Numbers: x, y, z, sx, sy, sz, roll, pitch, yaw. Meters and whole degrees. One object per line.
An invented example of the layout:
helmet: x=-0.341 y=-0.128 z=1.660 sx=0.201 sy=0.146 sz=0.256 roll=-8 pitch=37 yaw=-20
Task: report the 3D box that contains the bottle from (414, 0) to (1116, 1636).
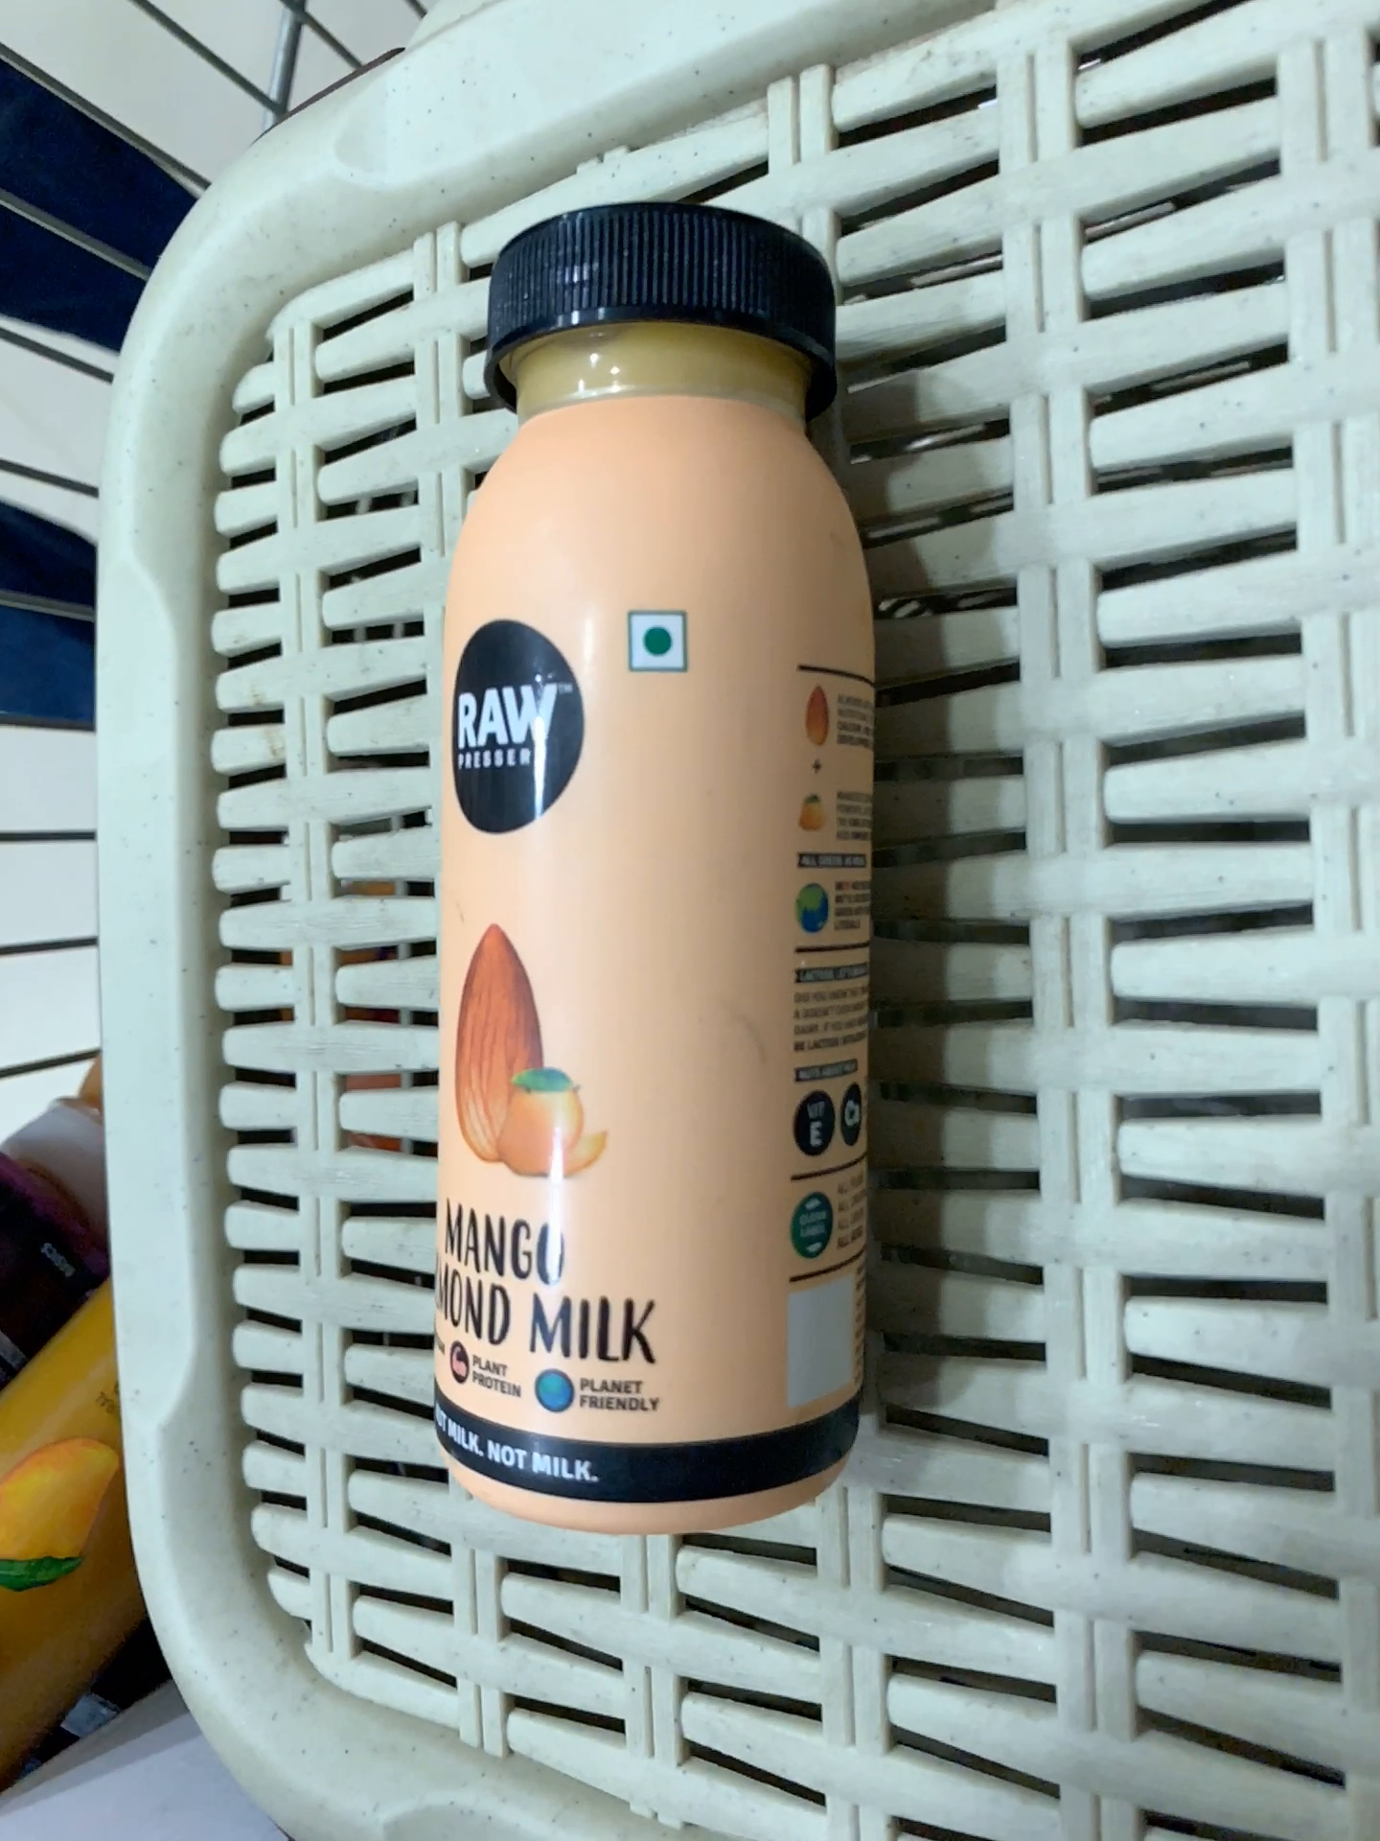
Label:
bottle: x=0.008 y=-0.013 z=0.158 sx=0.060 sy=0.040 sz=0.150 roll=3 pitch=91 yaw=30
